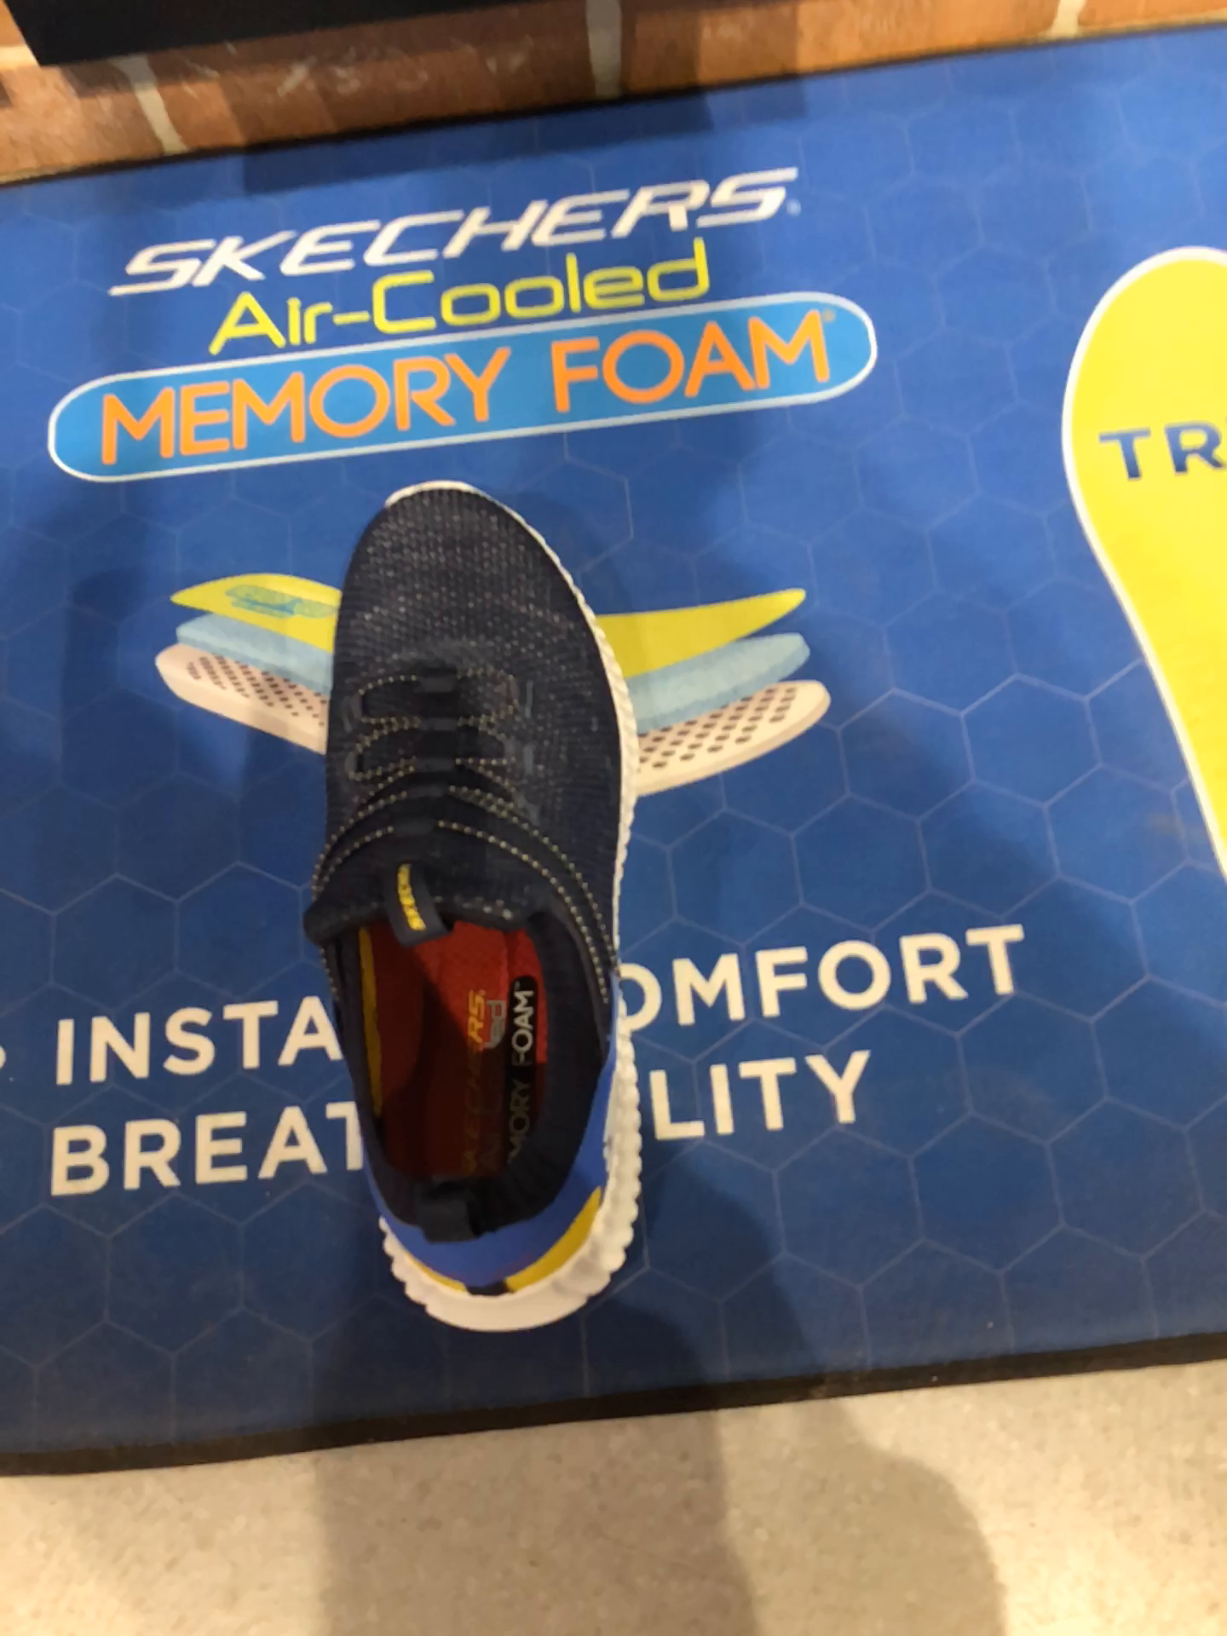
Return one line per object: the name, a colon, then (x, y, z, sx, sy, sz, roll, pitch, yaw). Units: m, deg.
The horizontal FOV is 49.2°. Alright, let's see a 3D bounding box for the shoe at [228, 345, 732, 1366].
shoe: (-0.042, 0.010, 0.419, 0.111, 0.103, 0.280, -9, 72, 1)
